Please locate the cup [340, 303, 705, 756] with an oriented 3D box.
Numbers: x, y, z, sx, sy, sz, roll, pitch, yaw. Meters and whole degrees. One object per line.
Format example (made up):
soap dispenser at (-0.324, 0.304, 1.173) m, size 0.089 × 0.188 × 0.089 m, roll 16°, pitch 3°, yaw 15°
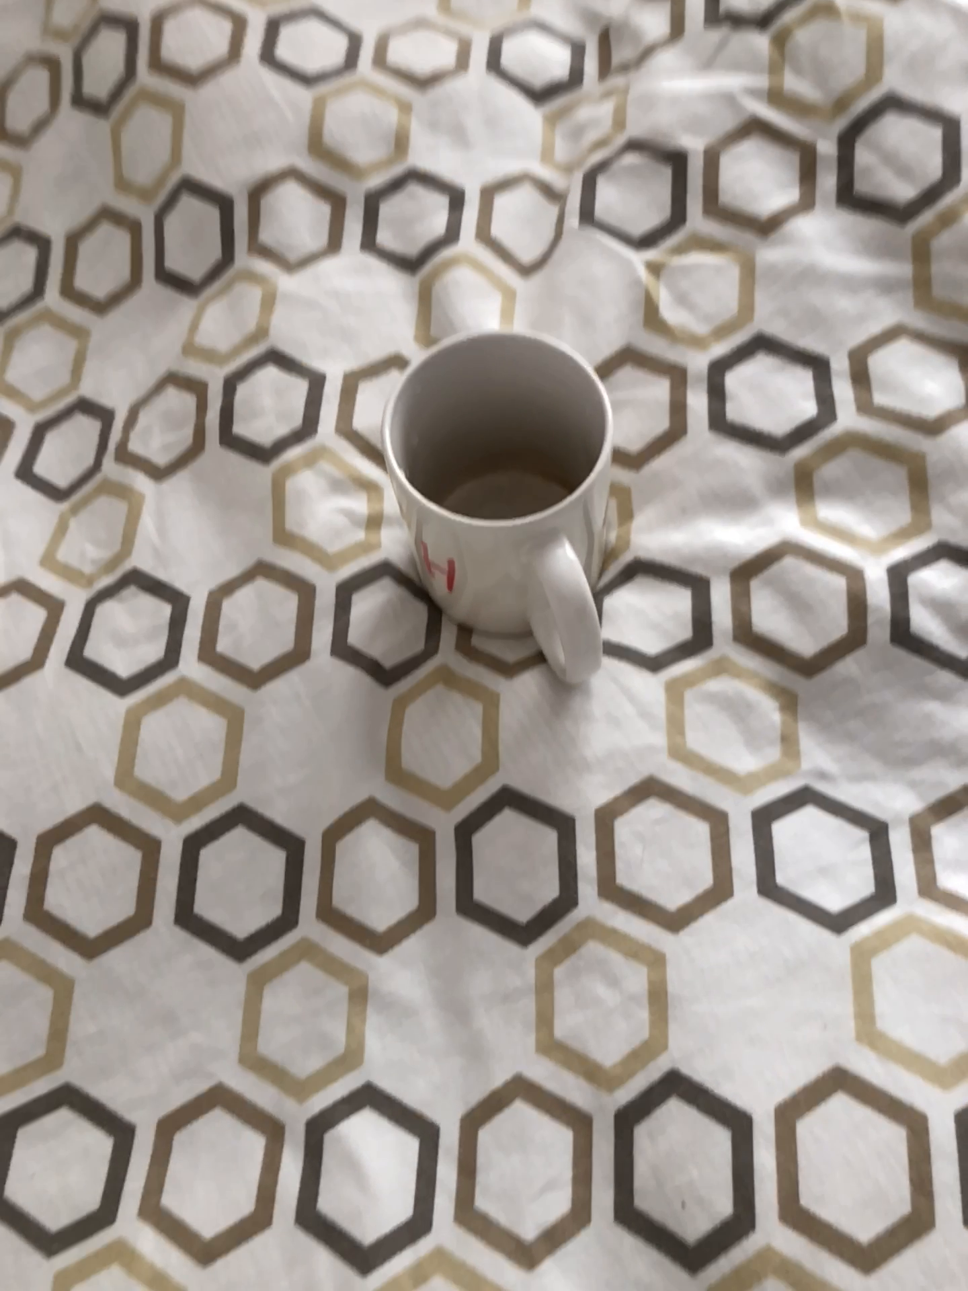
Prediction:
cup at (0.013, -0.041, 0.408) m, size 0.086 × 0.088 × 0.126 m, roll -20°, pitch 70°, yaw -3°
